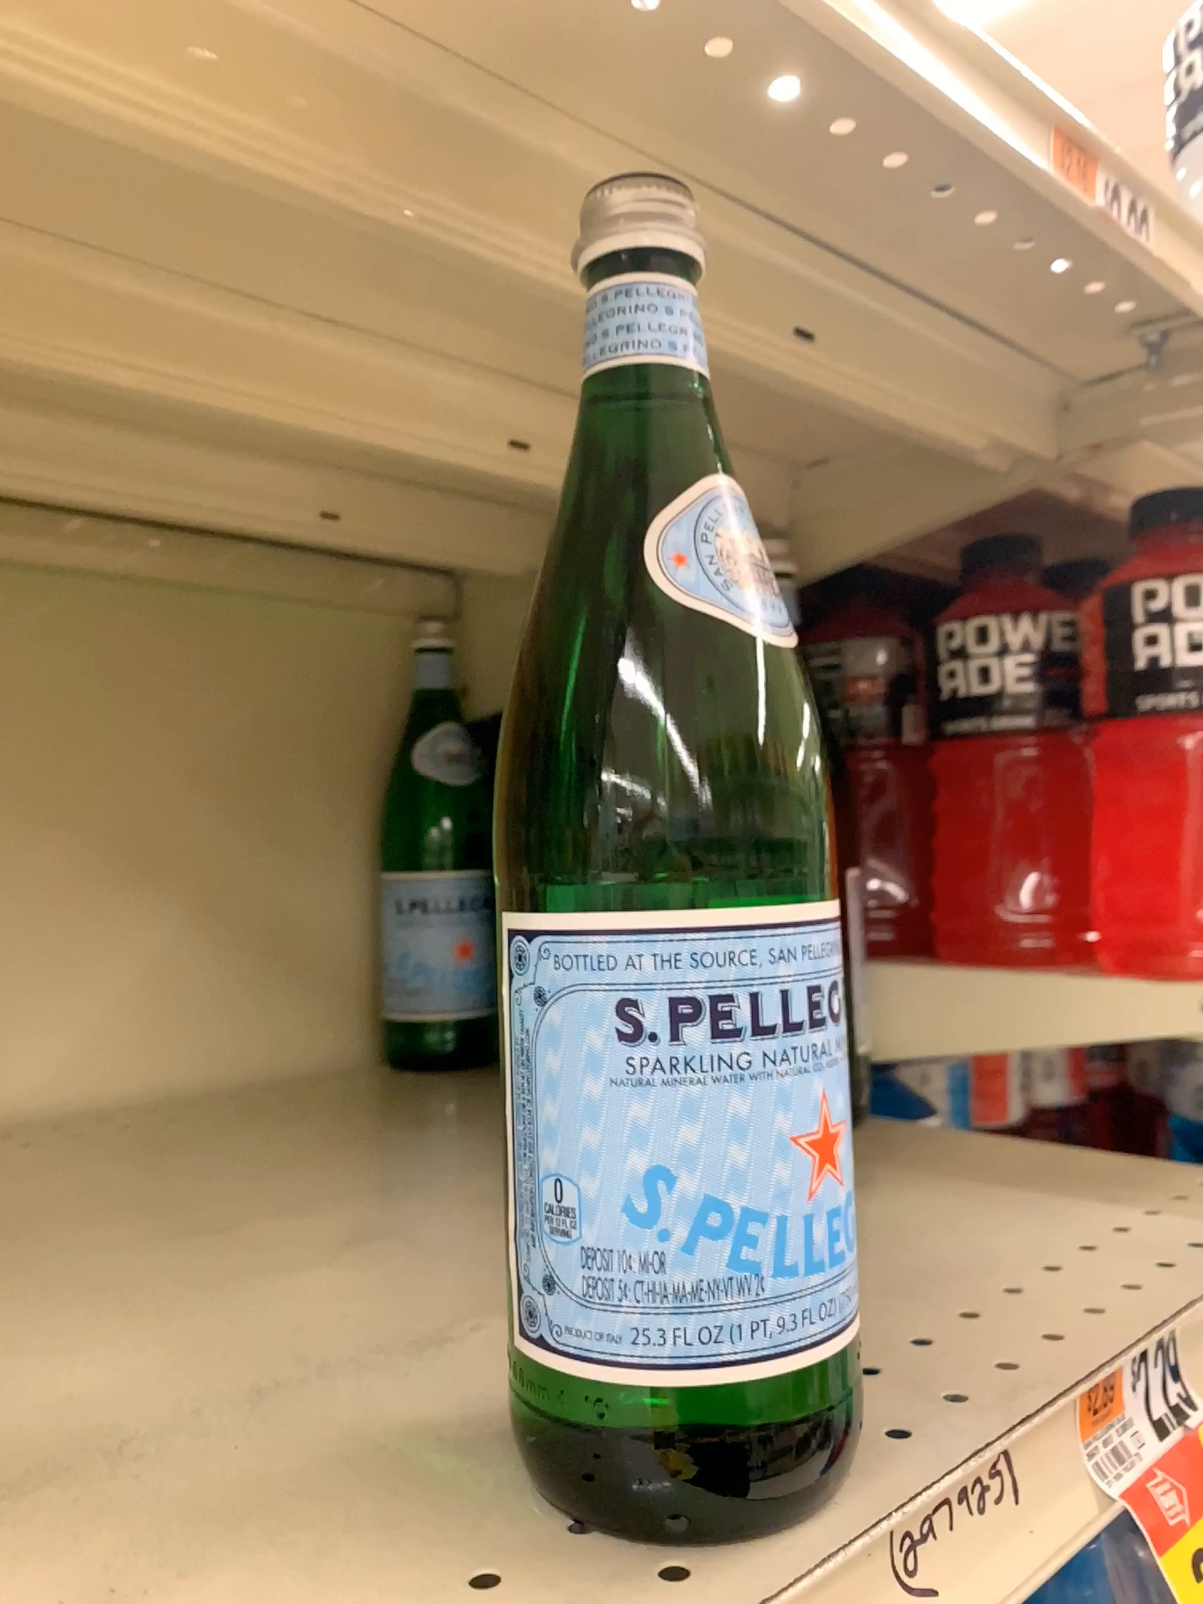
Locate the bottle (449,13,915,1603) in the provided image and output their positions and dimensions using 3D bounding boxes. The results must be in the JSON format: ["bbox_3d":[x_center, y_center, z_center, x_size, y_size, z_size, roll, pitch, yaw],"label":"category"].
[{"bbox_3d":[0.017,0.001,0.283,0.078,0.302,0.065,1,-2,-37],"label":"bottle"}]
